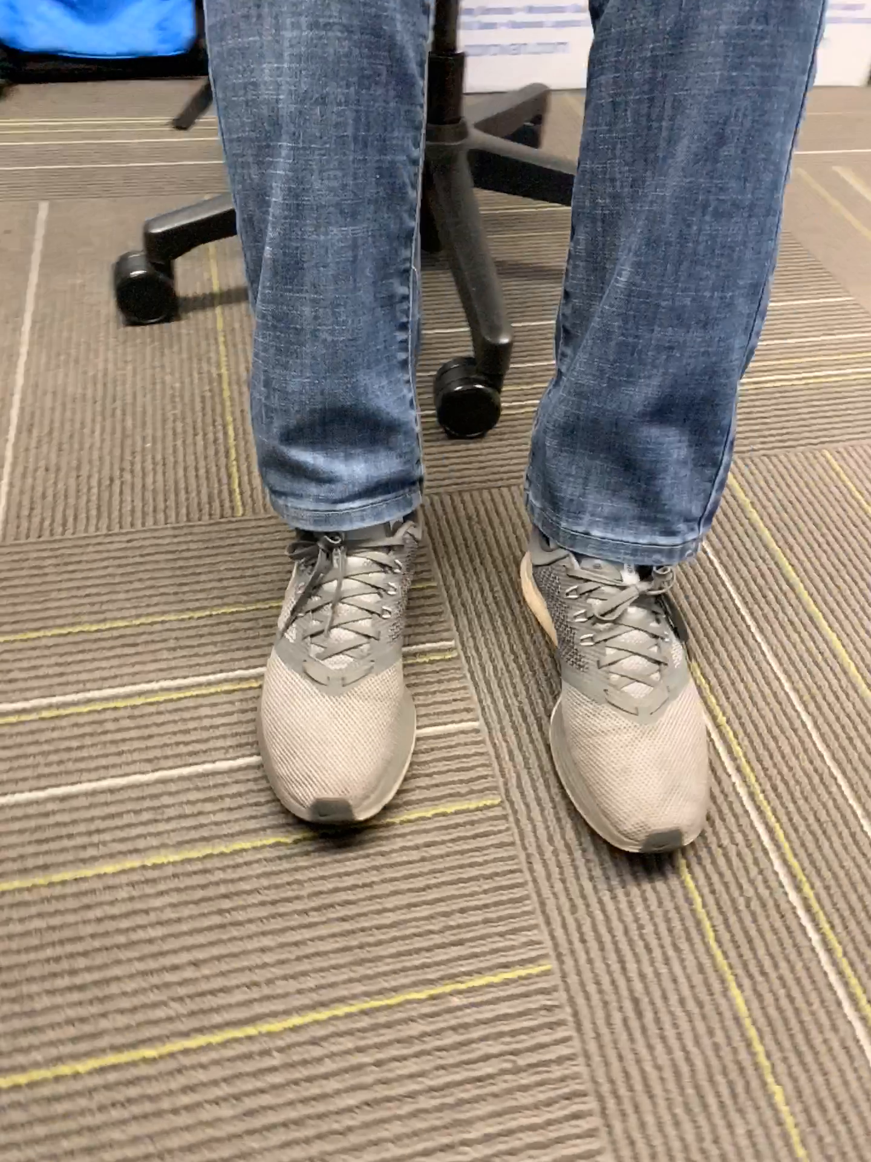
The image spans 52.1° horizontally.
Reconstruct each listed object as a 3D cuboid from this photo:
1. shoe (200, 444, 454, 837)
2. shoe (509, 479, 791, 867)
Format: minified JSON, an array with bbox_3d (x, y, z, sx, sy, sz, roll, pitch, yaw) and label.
[{"bbox_3d":[-0.064,0.028,0.643,0.132,0.078,0.285,5,48,0],"label":"shoe"},{"bbox_3d":[0.138,0.051,0.650,0.124,0.078,0.287,-1,48,-5],"label":"shoe"}]
